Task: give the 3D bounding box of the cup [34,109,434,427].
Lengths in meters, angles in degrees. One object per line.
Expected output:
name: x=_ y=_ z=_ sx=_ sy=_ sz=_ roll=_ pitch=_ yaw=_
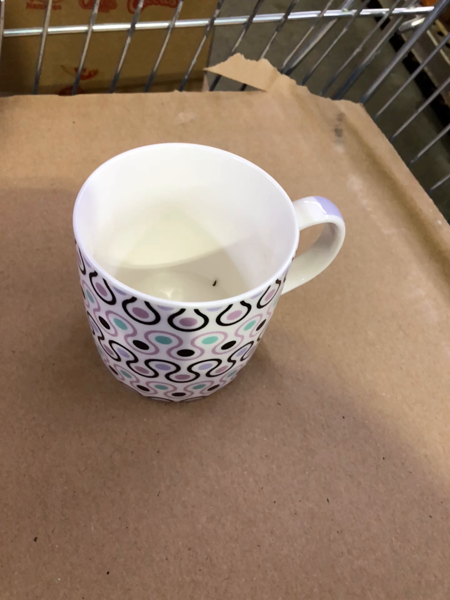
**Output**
cup: x=-0.003 y=-0.019 z=0.238 sx=0.140 sy=0.090 sz=0.090 roll=-13 pitch=58 yaw=-20
